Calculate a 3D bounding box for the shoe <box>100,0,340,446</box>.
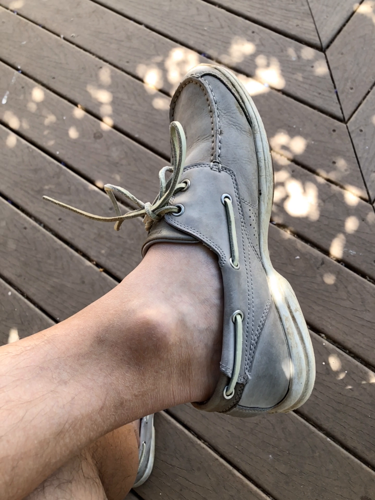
[{"bbox_3d":[0.010,-0.022,0.333,0.106,0.113,0.303,5,70,-34],"label":"shoe"}]
